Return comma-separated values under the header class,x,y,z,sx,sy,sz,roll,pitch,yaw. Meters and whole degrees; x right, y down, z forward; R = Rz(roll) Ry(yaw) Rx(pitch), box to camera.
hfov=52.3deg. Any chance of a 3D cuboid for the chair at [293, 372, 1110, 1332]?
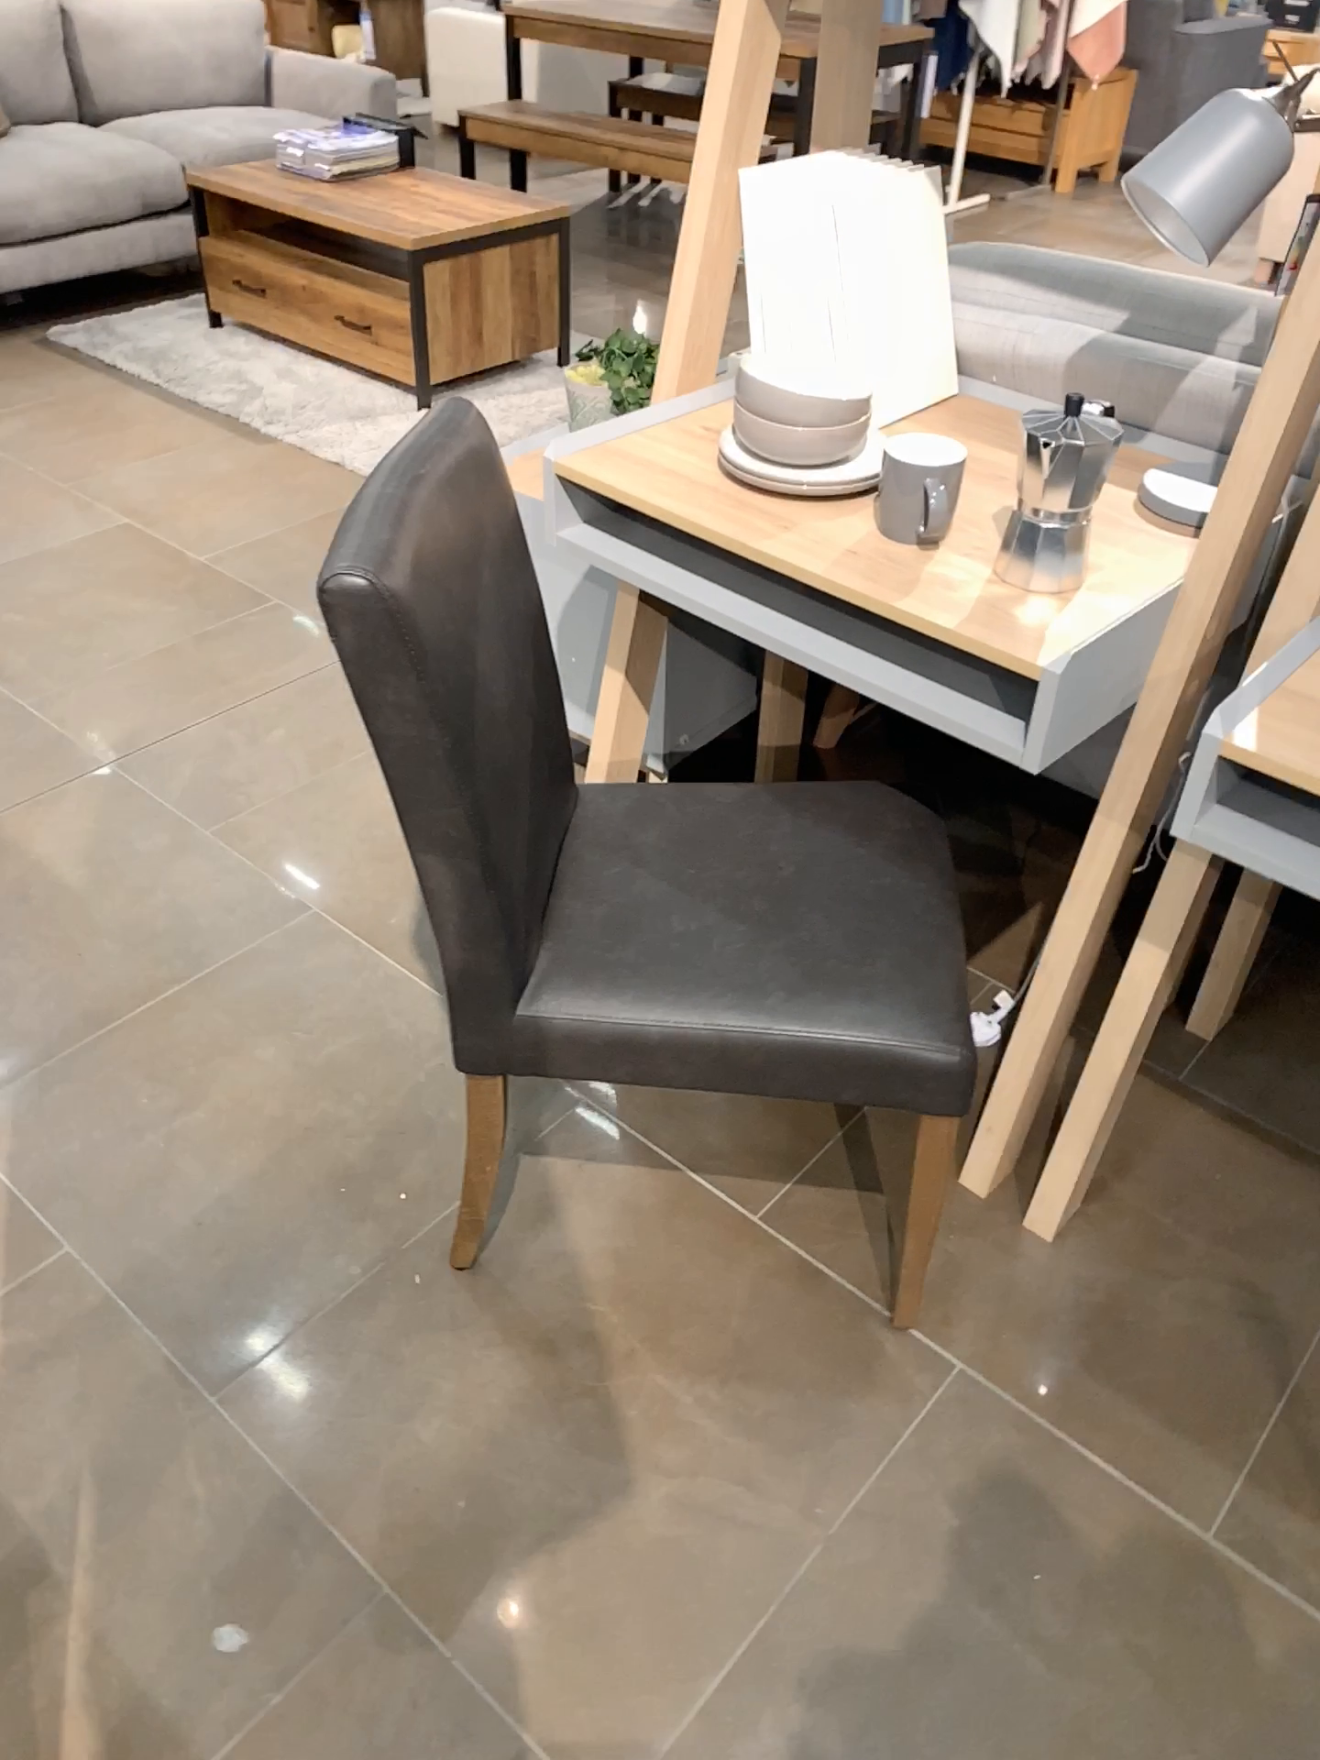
class,x,y,z,sx,sy,sz,roll,pitch,yaw
chair,0.033,-0.004,1.444,0.604,0.886,0.461,4,38,3
